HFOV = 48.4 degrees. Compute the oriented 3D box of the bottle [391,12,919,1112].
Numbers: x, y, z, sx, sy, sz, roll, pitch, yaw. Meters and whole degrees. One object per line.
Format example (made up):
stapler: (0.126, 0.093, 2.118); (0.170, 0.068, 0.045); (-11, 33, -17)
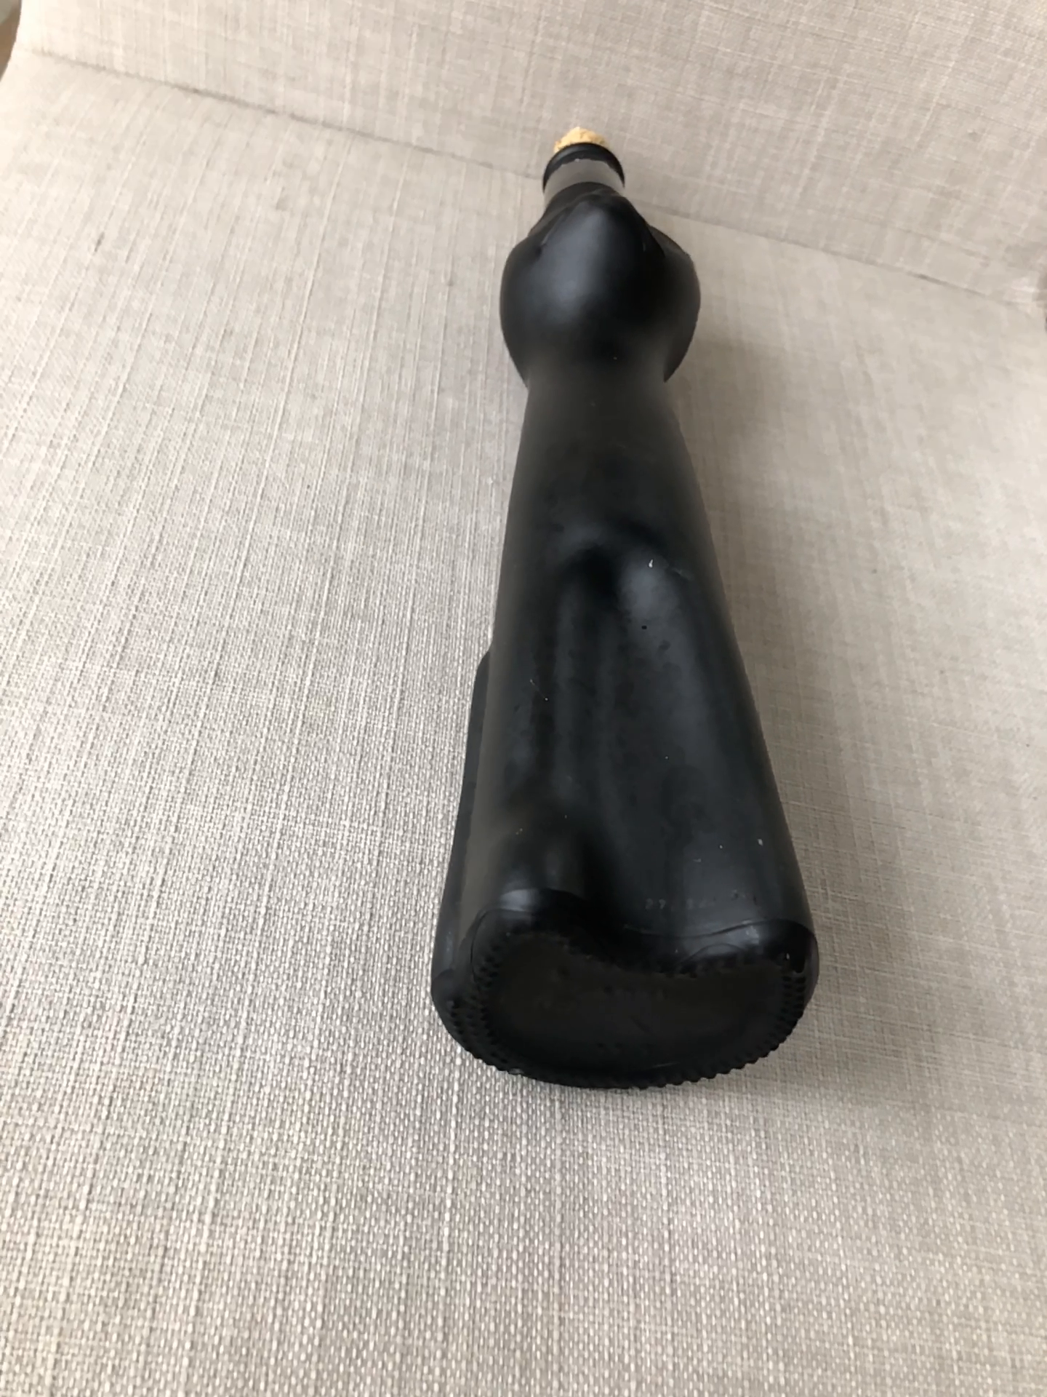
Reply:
bottle: (0.022, -0.062, 0.314); (0.077, 0.079, 0.312); (9, 53, -11)
